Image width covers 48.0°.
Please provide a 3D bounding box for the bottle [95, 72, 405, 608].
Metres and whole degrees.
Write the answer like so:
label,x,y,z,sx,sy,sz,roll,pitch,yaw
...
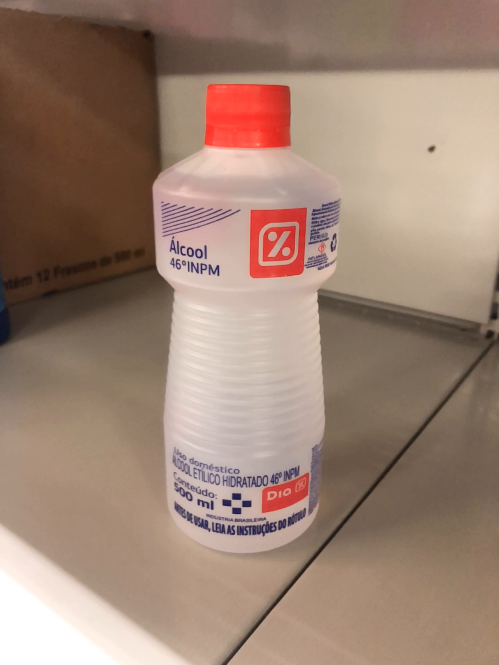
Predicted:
label,x,y,z,sx,sy,sz,roll,pitch,yaw
bottle,0.006,-0.002,0.223,0.080,0.179,0.080,0,21,0
